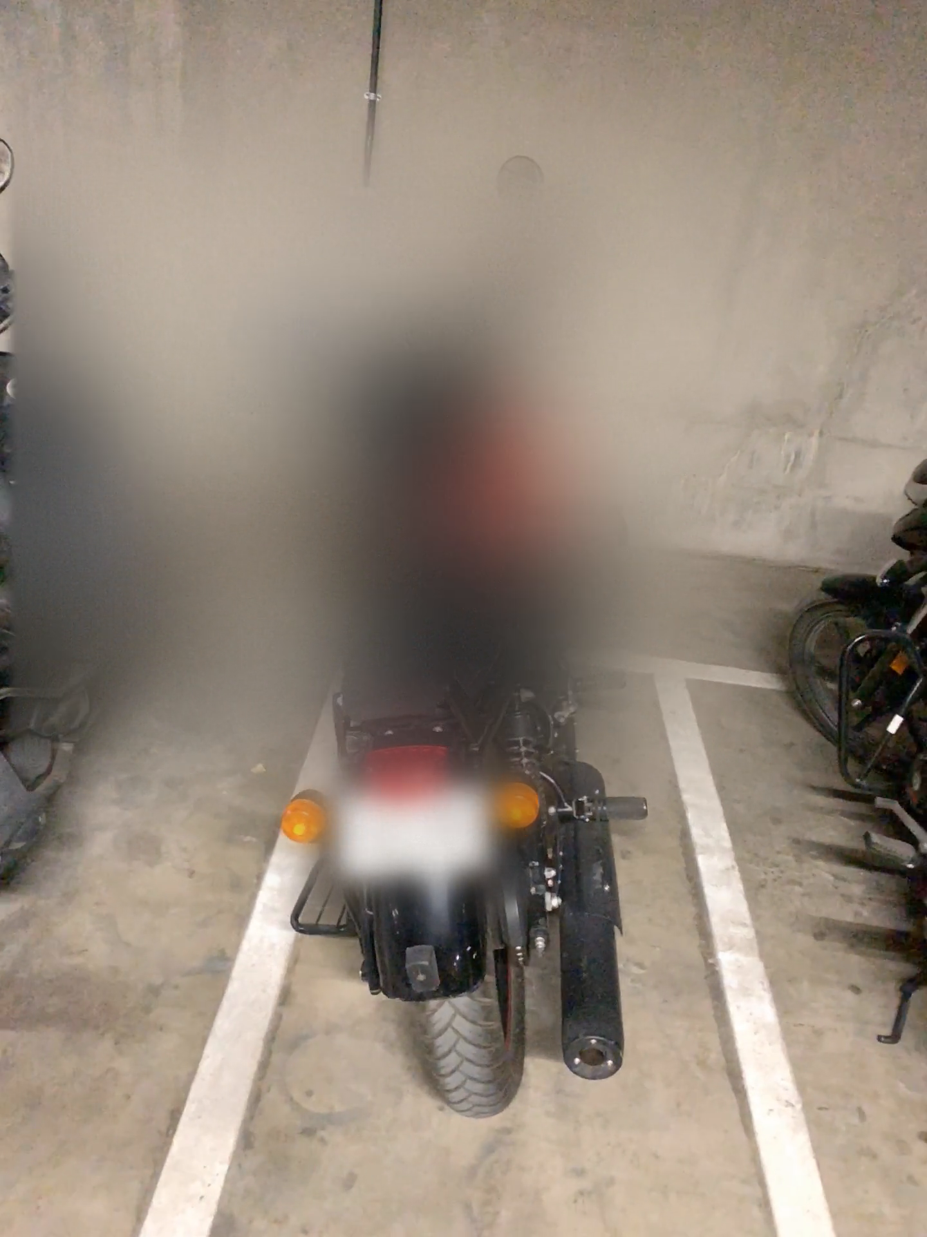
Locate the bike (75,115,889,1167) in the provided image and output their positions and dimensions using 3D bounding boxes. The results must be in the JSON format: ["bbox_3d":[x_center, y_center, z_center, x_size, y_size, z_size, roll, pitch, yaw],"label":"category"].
[{"bbox_3d":[-0.149,-0.184,2.016,0.828,1.302,1.844,3,31,-9],"label":"bike"}]
